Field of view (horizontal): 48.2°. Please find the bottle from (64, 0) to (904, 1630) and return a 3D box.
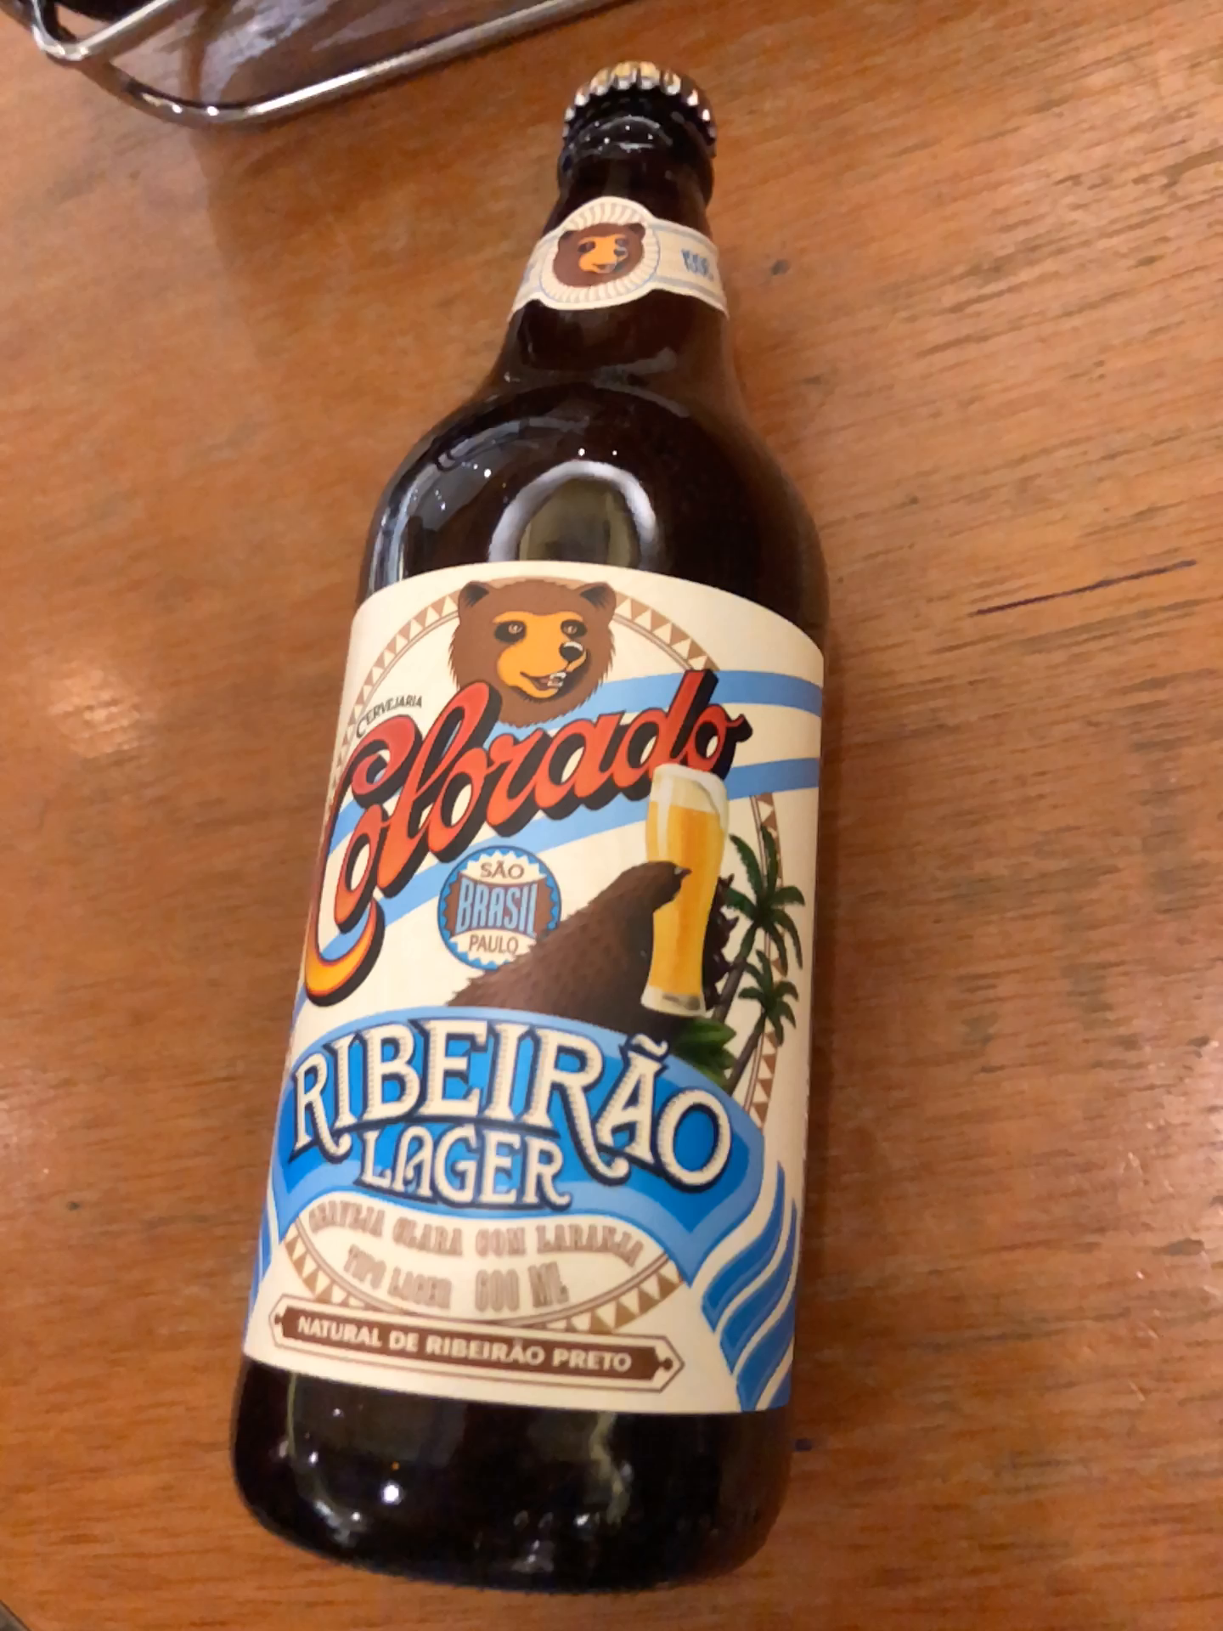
[{"bbox_3d":[-0.006,-0.028,0.221,0.090,0.060,0.260,-1,73,21],"label":"bottle"}]
